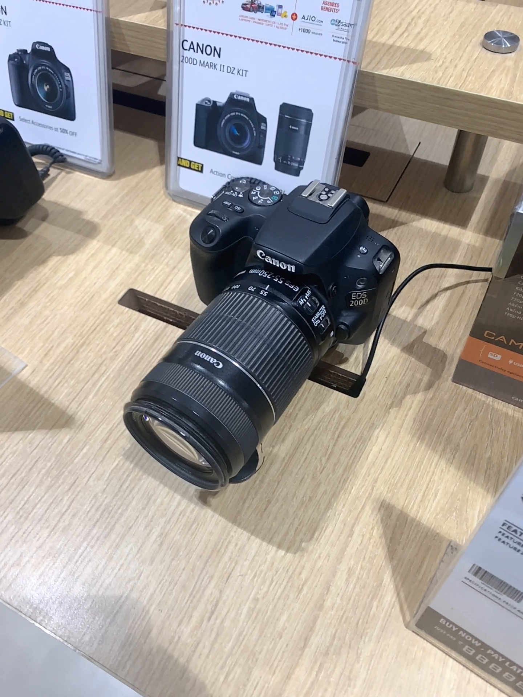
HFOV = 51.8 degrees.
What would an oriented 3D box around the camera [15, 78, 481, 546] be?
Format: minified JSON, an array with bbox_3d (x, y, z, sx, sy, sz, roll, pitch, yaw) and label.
[{"bbox_3d":[0.008,-0.031,0.280,0.120,0.100,0.200,25,59,20],"label":"camera"}]
